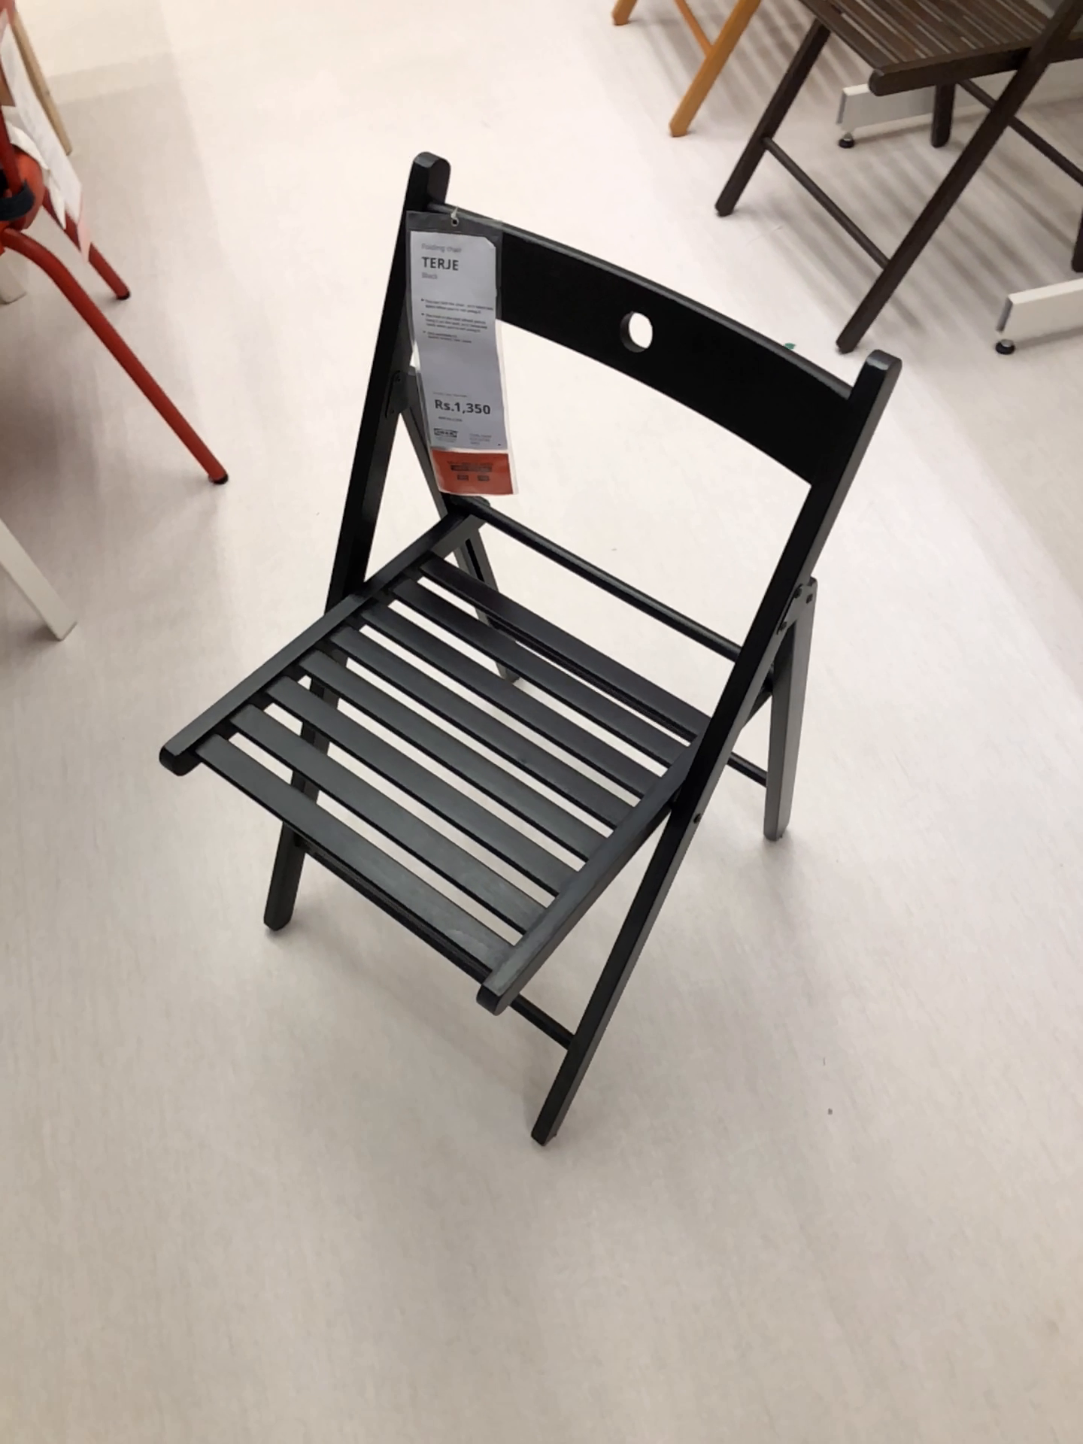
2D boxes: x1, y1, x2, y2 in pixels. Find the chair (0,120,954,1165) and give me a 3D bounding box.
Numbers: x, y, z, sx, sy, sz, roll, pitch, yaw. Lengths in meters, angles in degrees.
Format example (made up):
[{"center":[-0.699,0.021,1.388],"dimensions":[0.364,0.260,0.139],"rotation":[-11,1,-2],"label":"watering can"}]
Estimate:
[{"center":[-0.031,-0.014,1.082],"dimensions":[0.441,0.727,0.481],"rotation":[33,65,21],"label":"chair"}]
